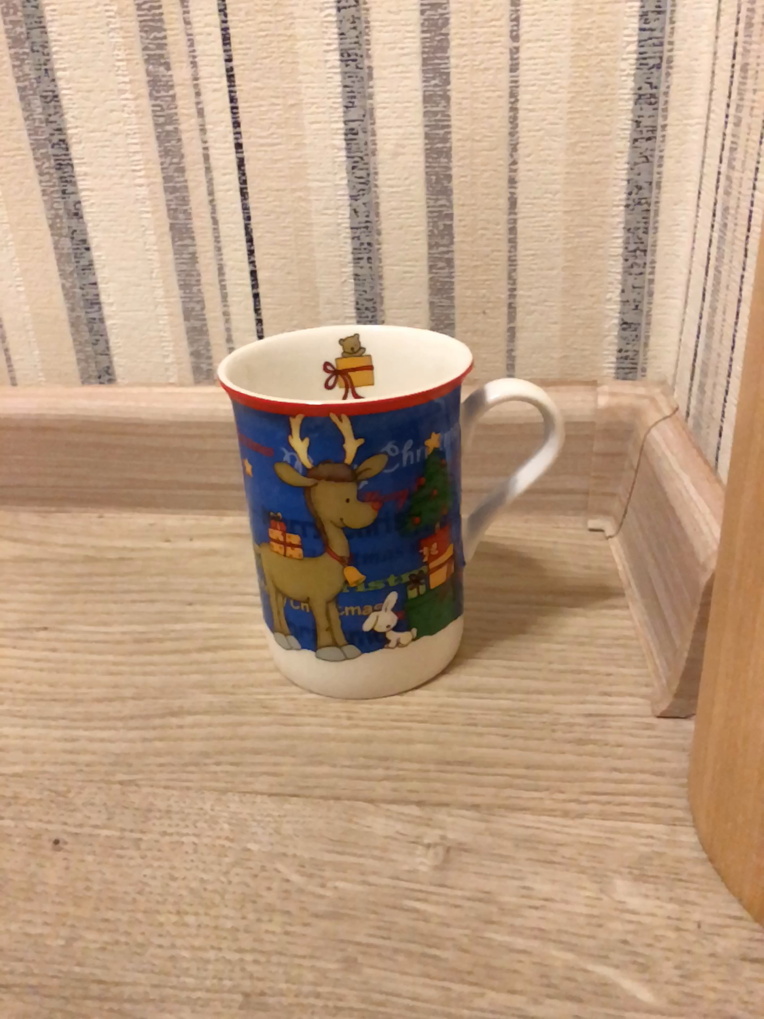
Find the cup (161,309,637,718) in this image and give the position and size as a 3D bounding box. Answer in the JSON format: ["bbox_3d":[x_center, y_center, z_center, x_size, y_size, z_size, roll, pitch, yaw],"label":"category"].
[{"bbox_3d":[0.005,-0.004,0.273,0.120,0.094,0.088,-4,26,-2],"label":"cup"}]
